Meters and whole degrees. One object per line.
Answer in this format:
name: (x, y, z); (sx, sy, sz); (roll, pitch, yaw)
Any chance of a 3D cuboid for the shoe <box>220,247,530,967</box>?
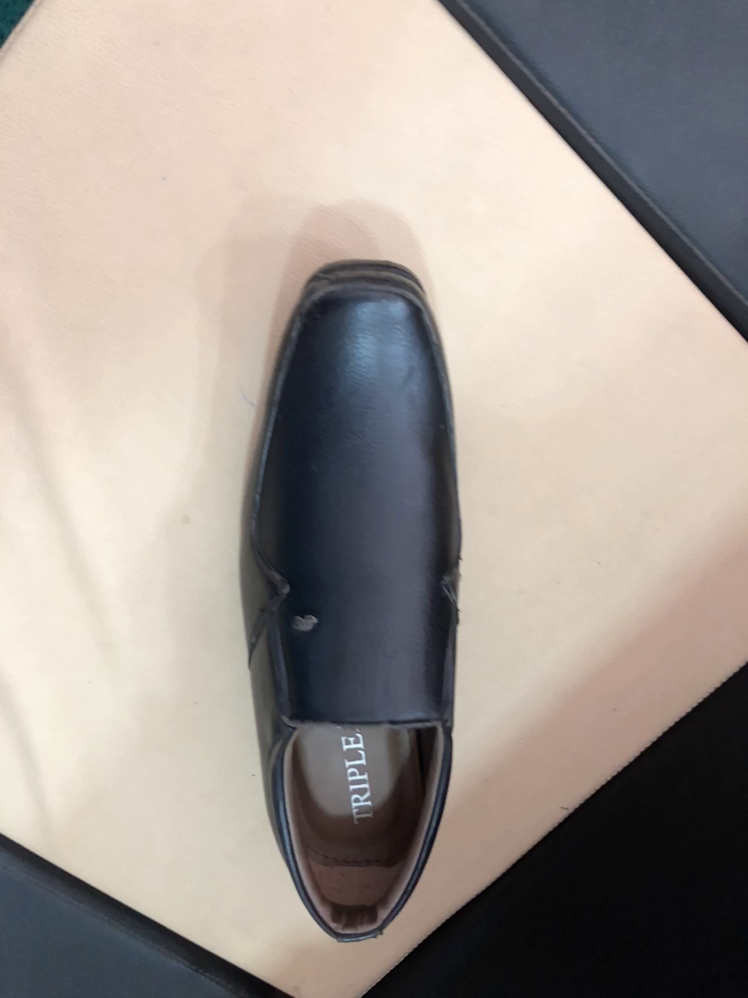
shoe: (-0.008, 0.052, 0.362); (0.100, 0.090, 0.301); (1, 111, -5)
